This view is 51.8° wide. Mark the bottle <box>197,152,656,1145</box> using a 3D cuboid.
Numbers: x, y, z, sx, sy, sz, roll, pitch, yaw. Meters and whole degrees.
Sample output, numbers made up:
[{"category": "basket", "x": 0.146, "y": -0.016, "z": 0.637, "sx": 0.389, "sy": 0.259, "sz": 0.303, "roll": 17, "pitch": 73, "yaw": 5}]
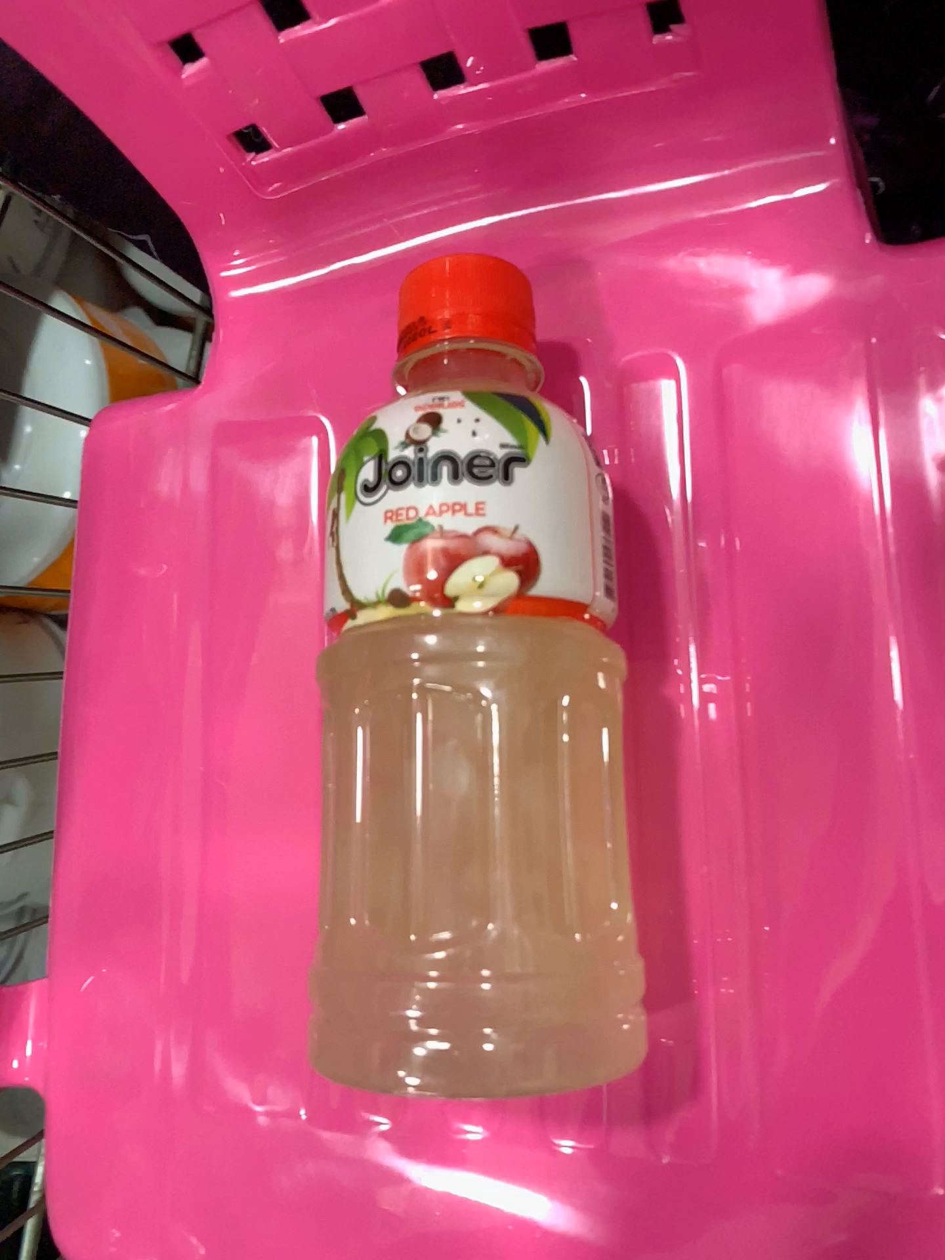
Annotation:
[{"category": "bottle", "x": -0.009, "y": 0.003, "z": 0.190, "sx": 0.070, "sy": 0.050, "sz": 0.160, "roll": -6, "pitch": 80, "yaw": 20}]
